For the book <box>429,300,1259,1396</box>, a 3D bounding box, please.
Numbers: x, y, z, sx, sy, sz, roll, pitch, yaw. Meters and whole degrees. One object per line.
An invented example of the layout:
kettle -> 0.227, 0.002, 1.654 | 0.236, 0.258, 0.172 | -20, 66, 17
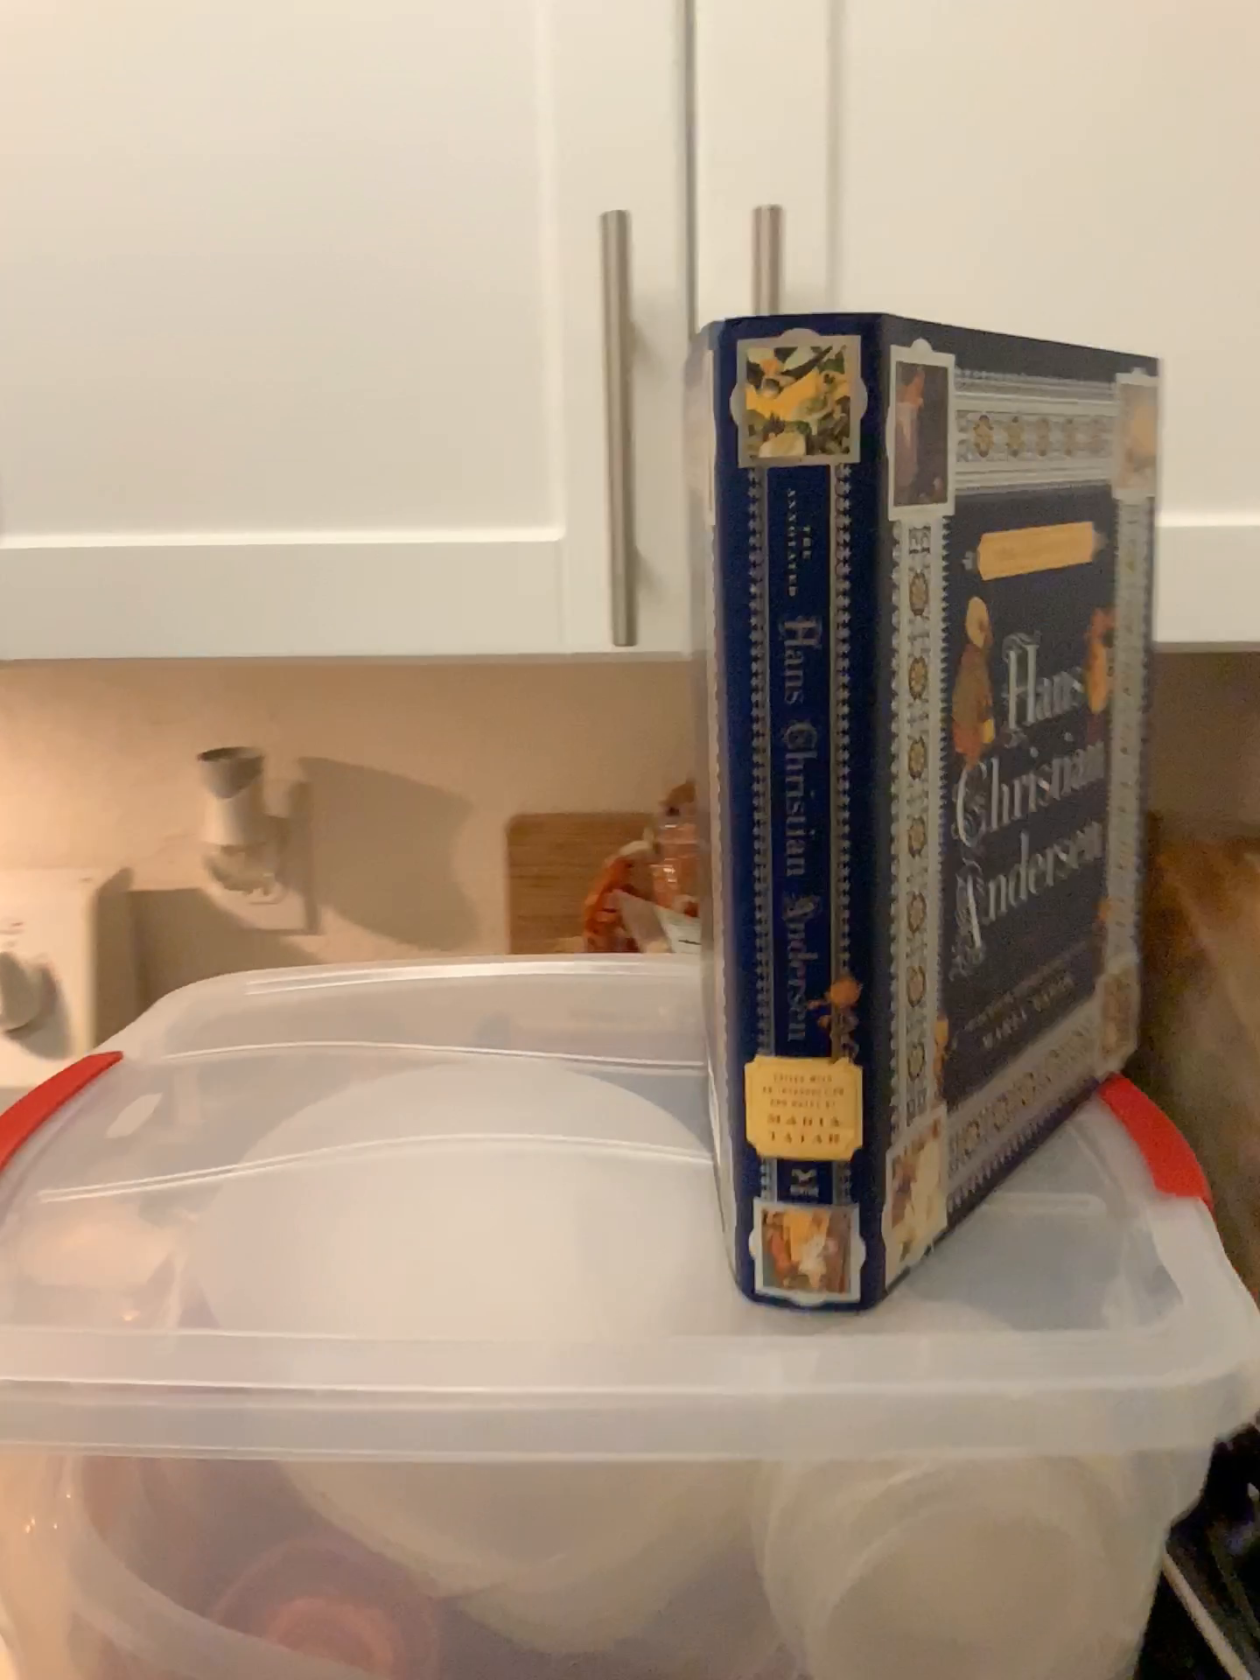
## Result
book -> 0.077, -0.022, 0.462 | 0.200, 0.260, 0.250 | 4, 15, 12
